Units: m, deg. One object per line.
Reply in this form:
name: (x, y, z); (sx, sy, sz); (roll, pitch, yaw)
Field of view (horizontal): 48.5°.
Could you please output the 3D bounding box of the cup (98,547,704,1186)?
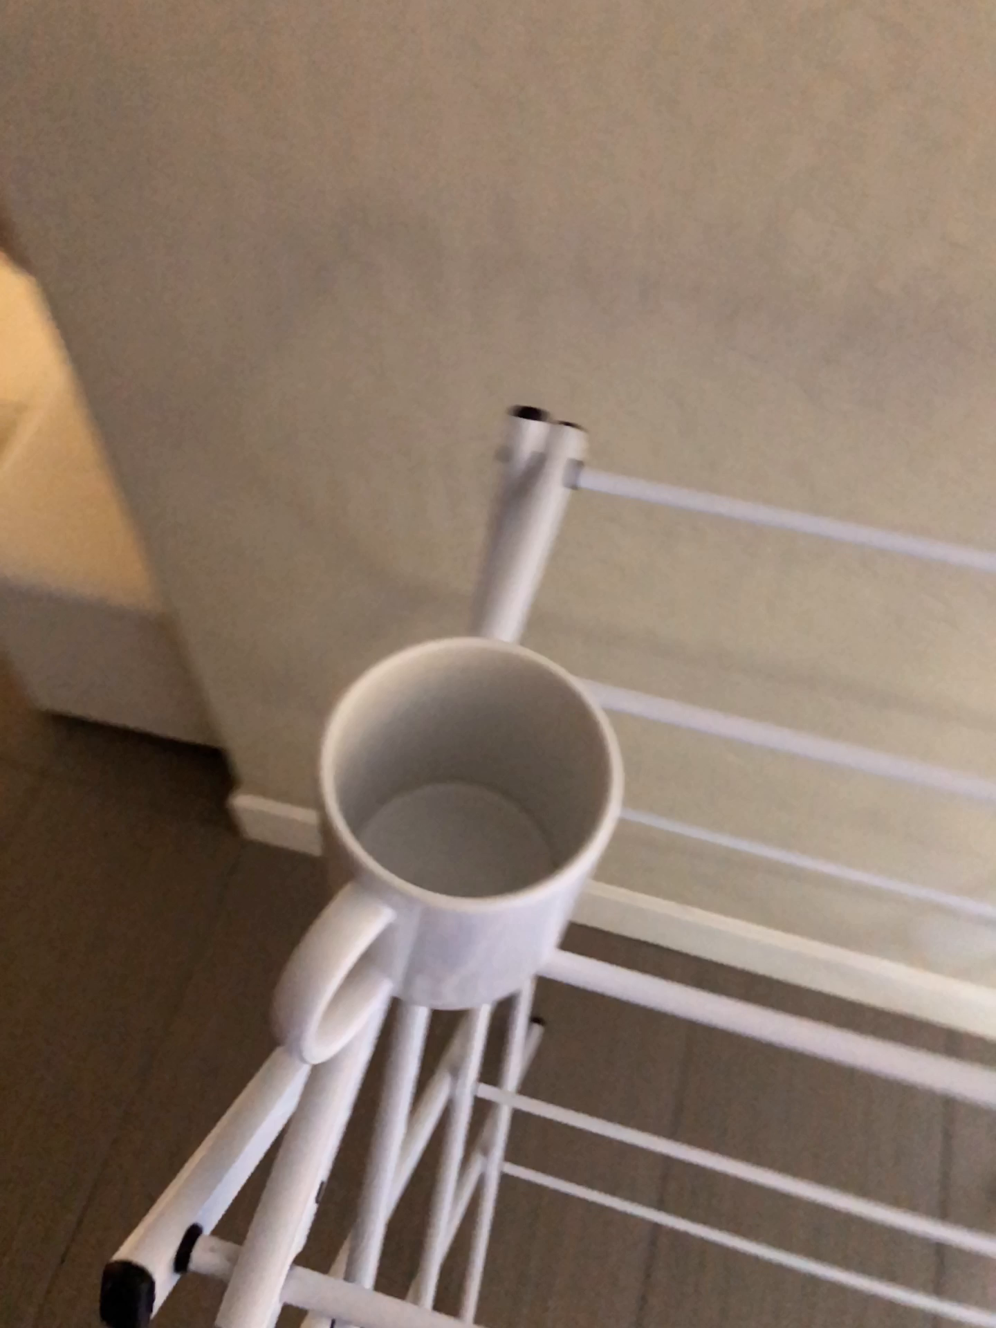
cup: (-0.024, 0.056, 0.317); (0.090, 0.090, 0.130); (35, 59, 16)
